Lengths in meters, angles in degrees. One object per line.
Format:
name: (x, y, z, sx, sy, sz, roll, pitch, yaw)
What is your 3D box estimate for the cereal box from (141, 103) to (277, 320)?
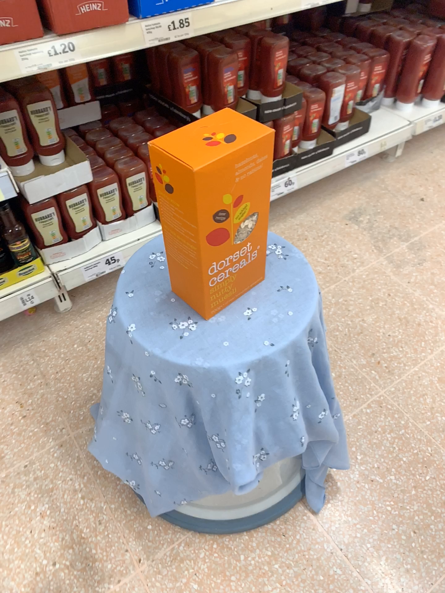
cereal box: (-0.012, -0.101, 0.582, 0.121, 0.228, 0.090, -35, 55, -28)
